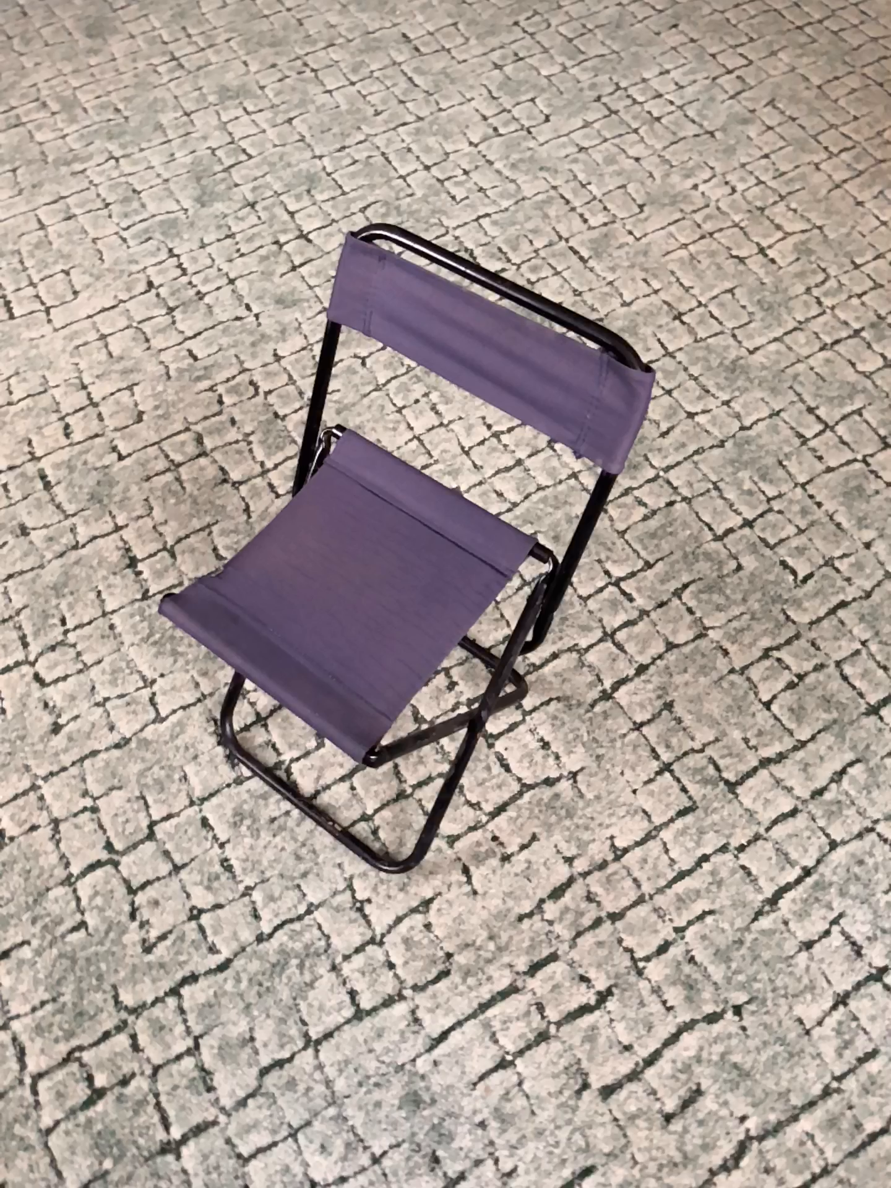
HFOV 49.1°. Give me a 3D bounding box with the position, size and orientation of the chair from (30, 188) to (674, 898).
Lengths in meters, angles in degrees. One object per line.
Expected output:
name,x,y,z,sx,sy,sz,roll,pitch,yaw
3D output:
chair,-0.063,-0.020,1.013,0.342,0.537,0.399,32,64,19
